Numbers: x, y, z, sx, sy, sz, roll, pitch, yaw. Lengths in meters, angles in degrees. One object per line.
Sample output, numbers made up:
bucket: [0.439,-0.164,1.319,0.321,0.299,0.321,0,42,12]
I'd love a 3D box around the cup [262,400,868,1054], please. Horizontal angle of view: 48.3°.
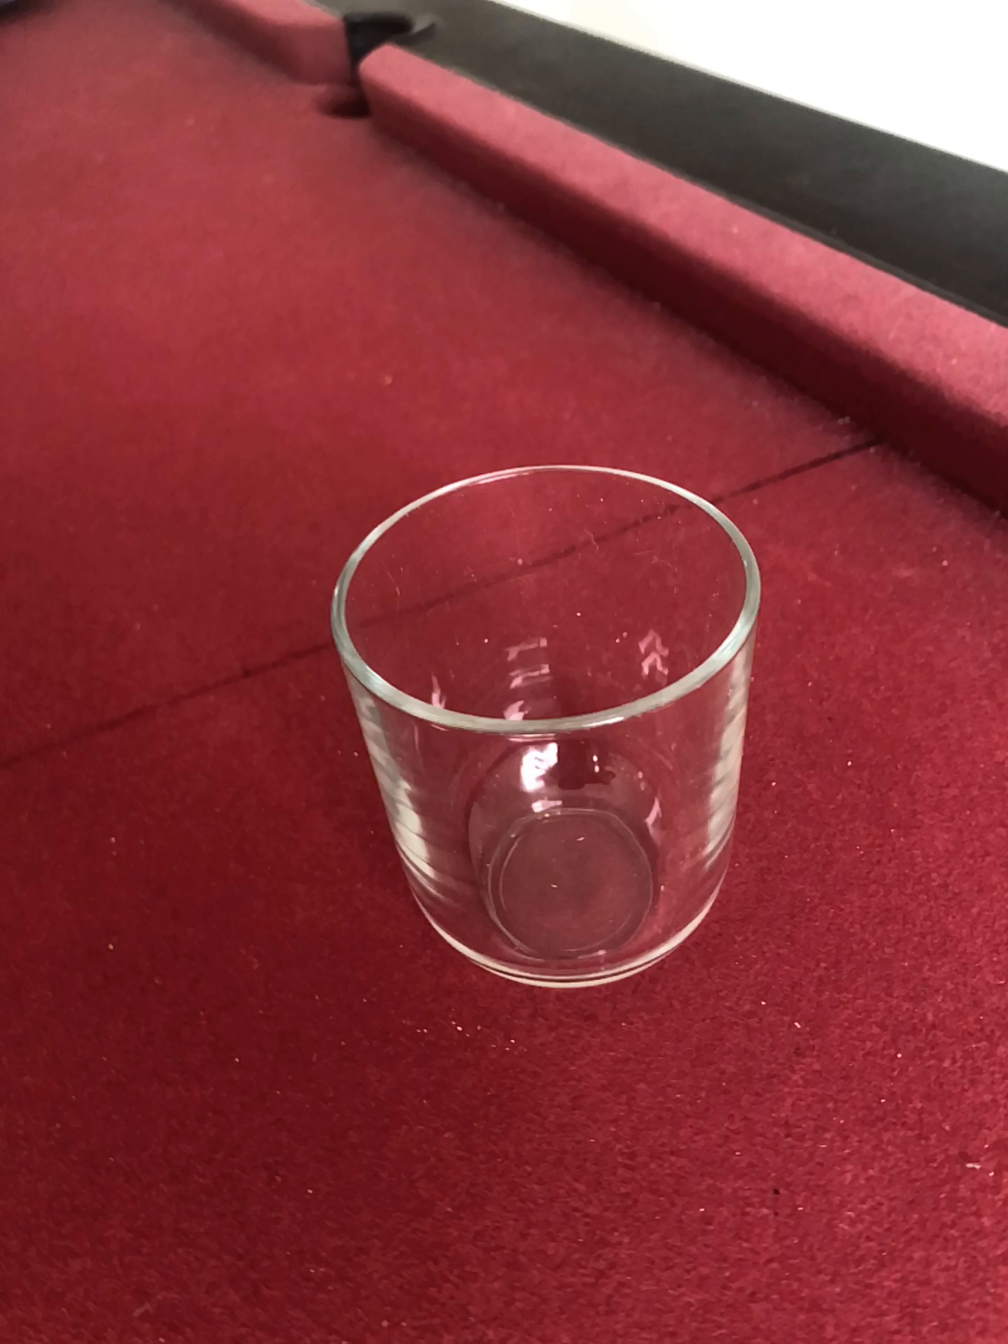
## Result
cup: [0.007,0.006,0.212,0.080,0.070,0.080,-4,41,3]
